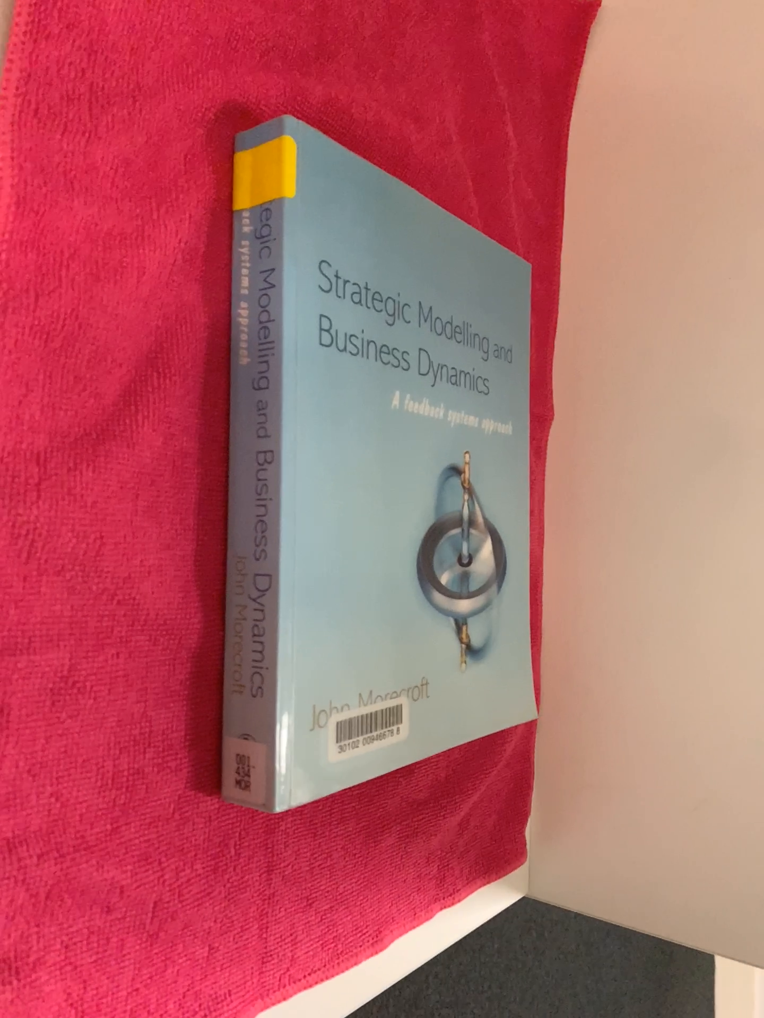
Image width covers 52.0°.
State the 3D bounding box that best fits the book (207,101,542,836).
[{"bbox_3d":[0.013,-0.012,0.352,0.194,0.033,0.250,5,85,-53],"label":"book"}]
